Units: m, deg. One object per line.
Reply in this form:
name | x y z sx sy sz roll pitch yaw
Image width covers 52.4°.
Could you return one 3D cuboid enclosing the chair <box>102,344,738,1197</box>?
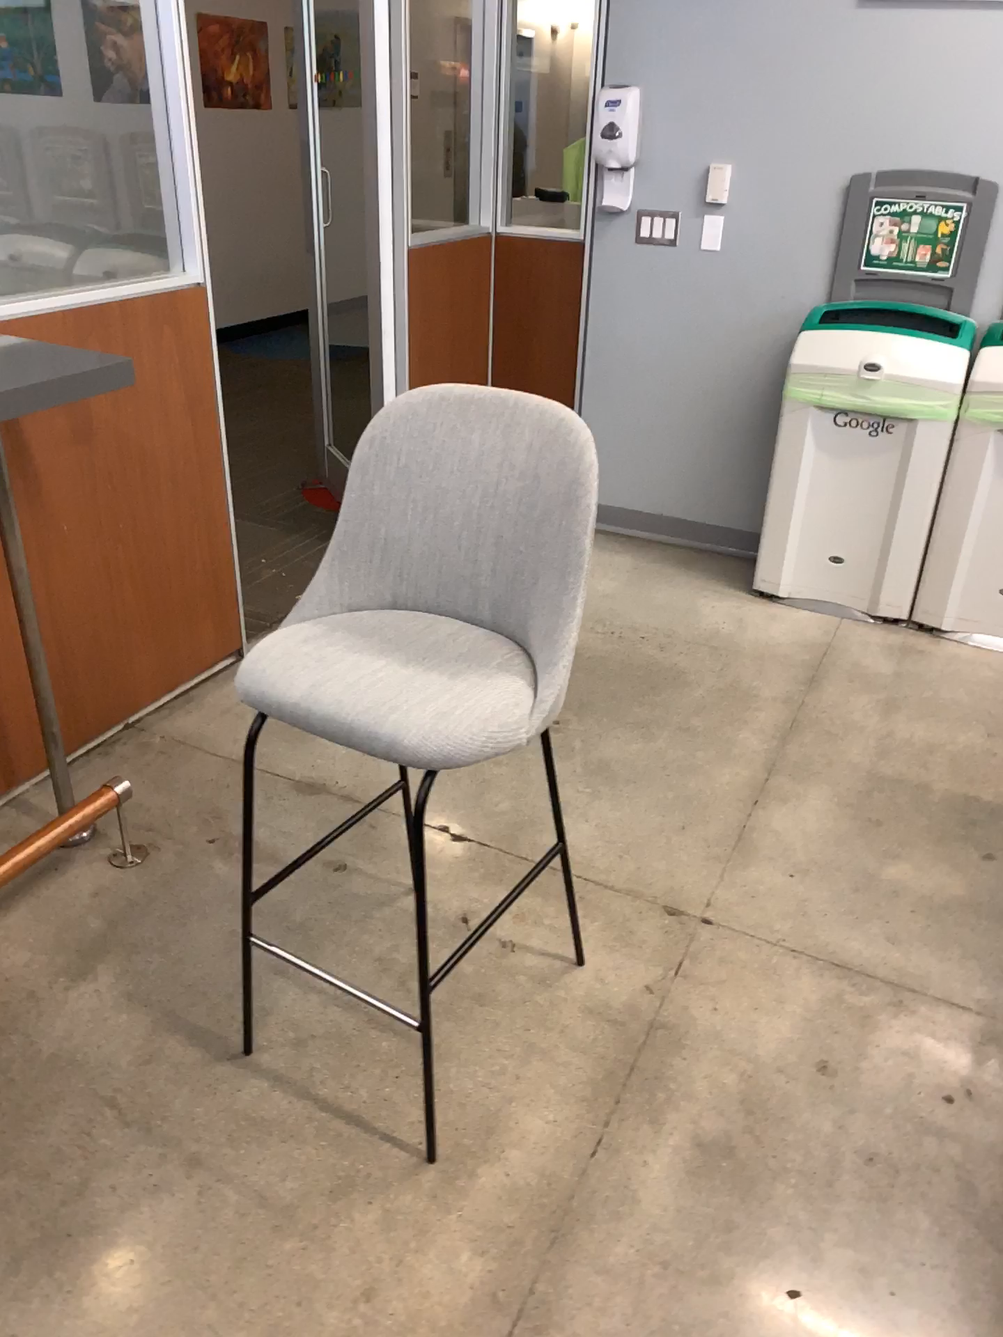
chair | -0.084 0.100 1.770 0.592 1.094 0.812 17 31 26
